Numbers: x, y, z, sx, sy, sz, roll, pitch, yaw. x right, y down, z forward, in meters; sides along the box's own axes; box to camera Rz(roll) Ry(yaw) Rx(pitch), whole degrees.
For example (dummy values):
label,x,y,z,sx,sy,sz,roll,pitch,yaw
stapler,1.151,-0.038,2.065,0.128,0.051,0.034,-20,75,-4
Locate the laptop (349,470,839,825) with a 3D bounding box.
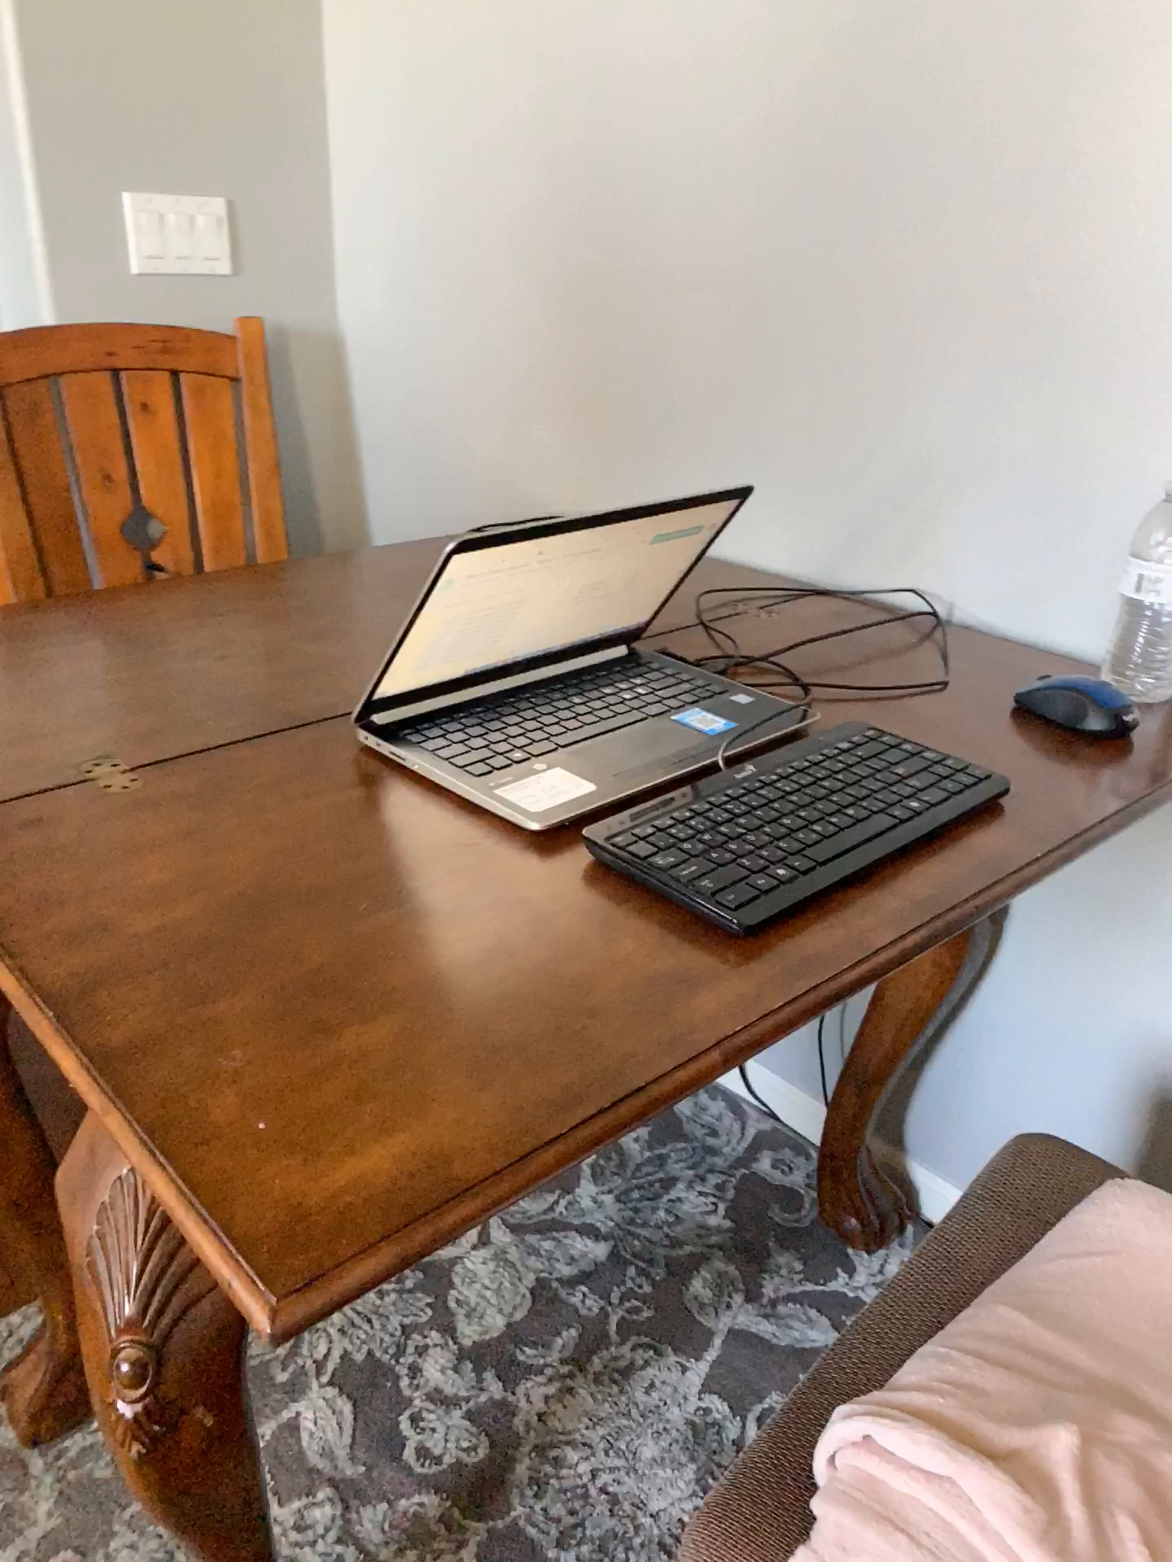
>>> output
label,x,y,z,sx,sy,sz,roll,pitch,yaw
laptop,0.010,-0.119,0.899,0.303,0.157,0.199,-19,33,-39
